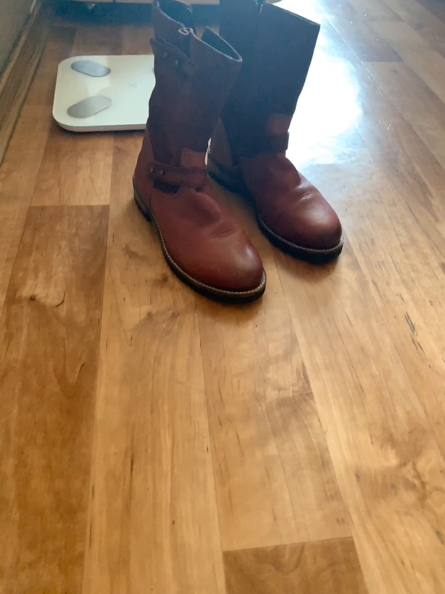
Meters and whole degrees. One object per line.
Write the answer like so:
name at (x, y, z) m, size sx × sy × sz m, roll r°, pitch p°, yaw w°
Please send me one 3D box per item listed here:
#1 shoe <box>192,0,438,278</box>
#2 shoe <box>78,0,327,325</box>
shoe at (0.069, -0.199, 0.520) m, size 0.090 × 0.239 × 0.251 m, roll -25°, pitch 53°, yaw -24°
shoe at (-0.036, -0.153, 0.487) m, size 0.100 × 0.249 × 0.251 m, roll -25°, pitch 53°, yaw -24°
